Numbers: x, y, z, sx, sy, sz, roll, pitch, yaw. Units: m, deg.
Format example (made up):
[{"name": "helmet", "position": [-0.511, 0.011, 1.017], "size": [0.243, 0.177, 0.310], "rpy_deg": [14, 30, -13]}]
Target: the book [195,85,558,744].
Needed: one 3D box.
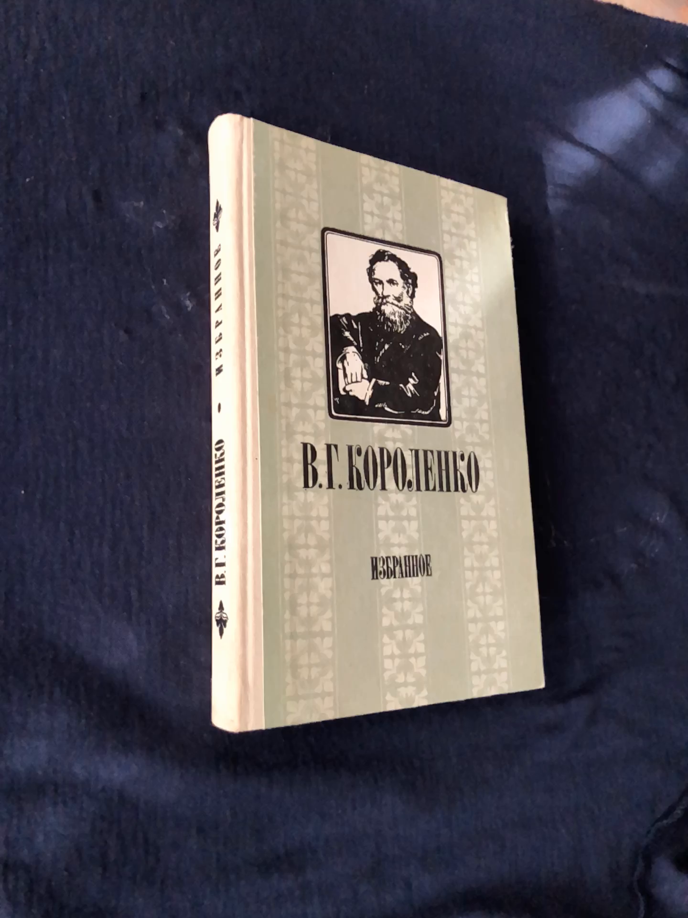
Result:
[{"name": "book", "position": [0.014, -0.015, 0.285], "size": [0.132, 0.030, 0.209], "rpy_deg": [3, 79, -32]}]
